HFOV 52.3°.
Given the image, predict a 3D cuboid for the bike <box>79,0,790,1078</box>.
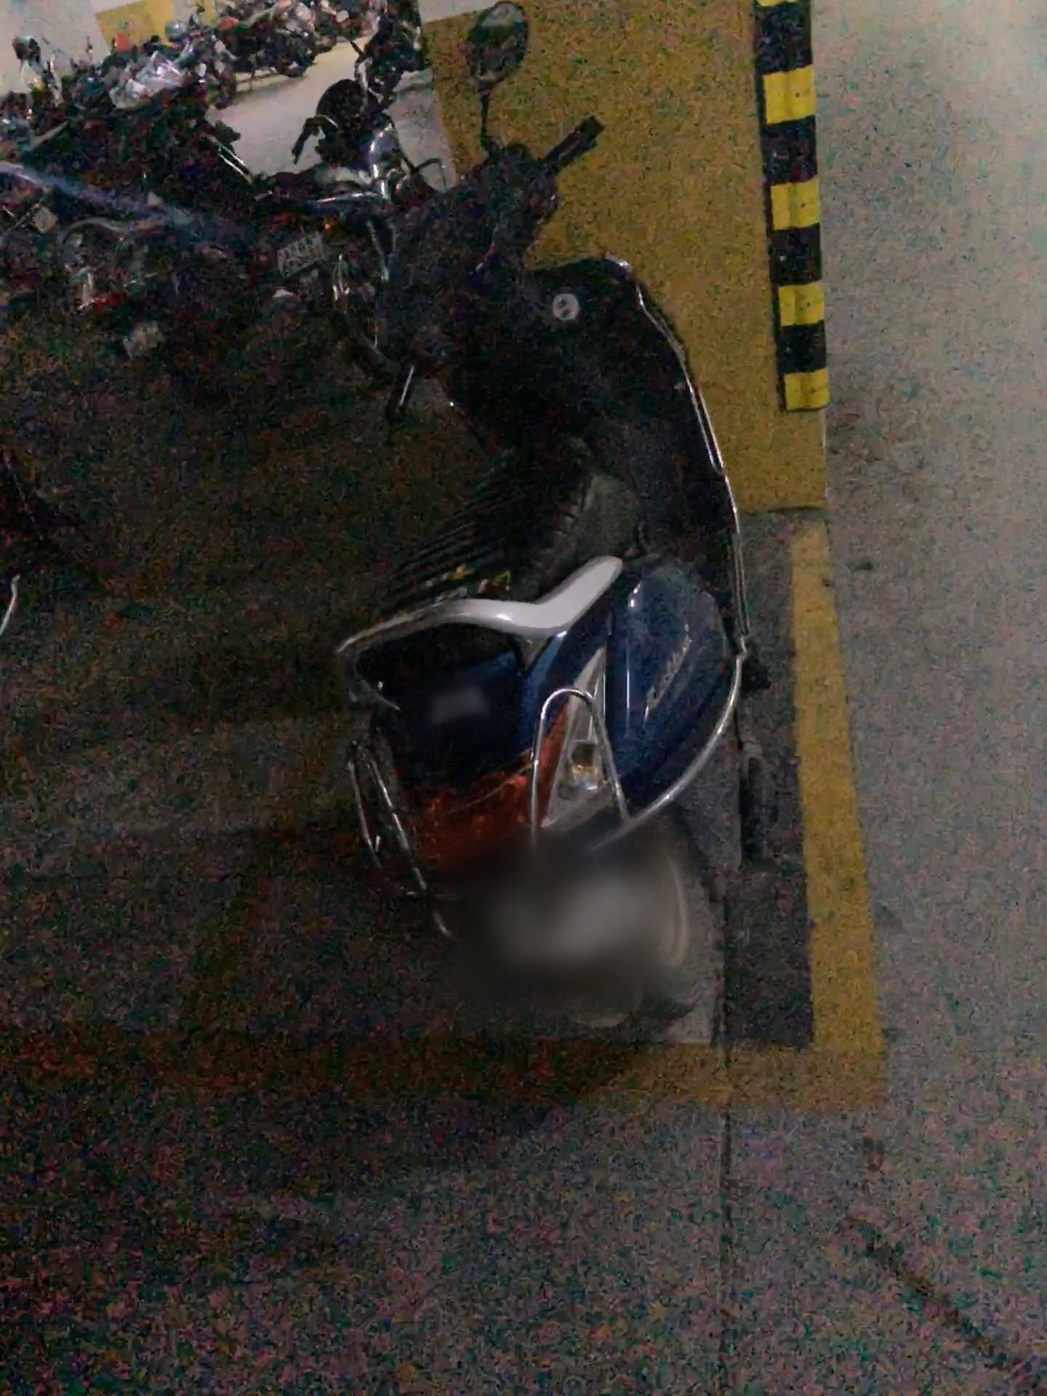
[{"bbox_3d":[-0.065,-0.332,1.762,0.631,1.063,1.275,-10,42,6],"label":"bike"}]
